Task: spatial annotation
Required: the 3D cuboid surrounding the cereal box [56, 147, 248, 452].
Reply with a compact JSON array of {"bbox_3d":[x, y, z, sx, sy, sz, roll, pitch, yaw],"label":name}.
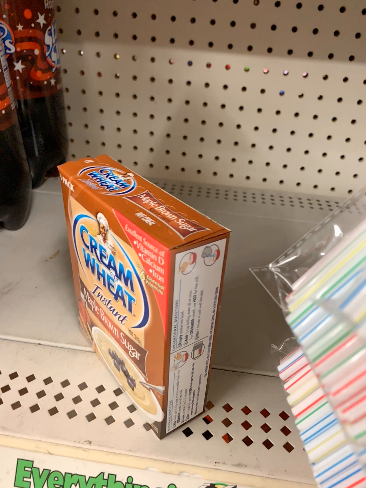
[{"bbox_3d":[-0.028,0.033,0.243,0.040,0.149,0.120,-22,41,-33],"label":"cereal box"}]
